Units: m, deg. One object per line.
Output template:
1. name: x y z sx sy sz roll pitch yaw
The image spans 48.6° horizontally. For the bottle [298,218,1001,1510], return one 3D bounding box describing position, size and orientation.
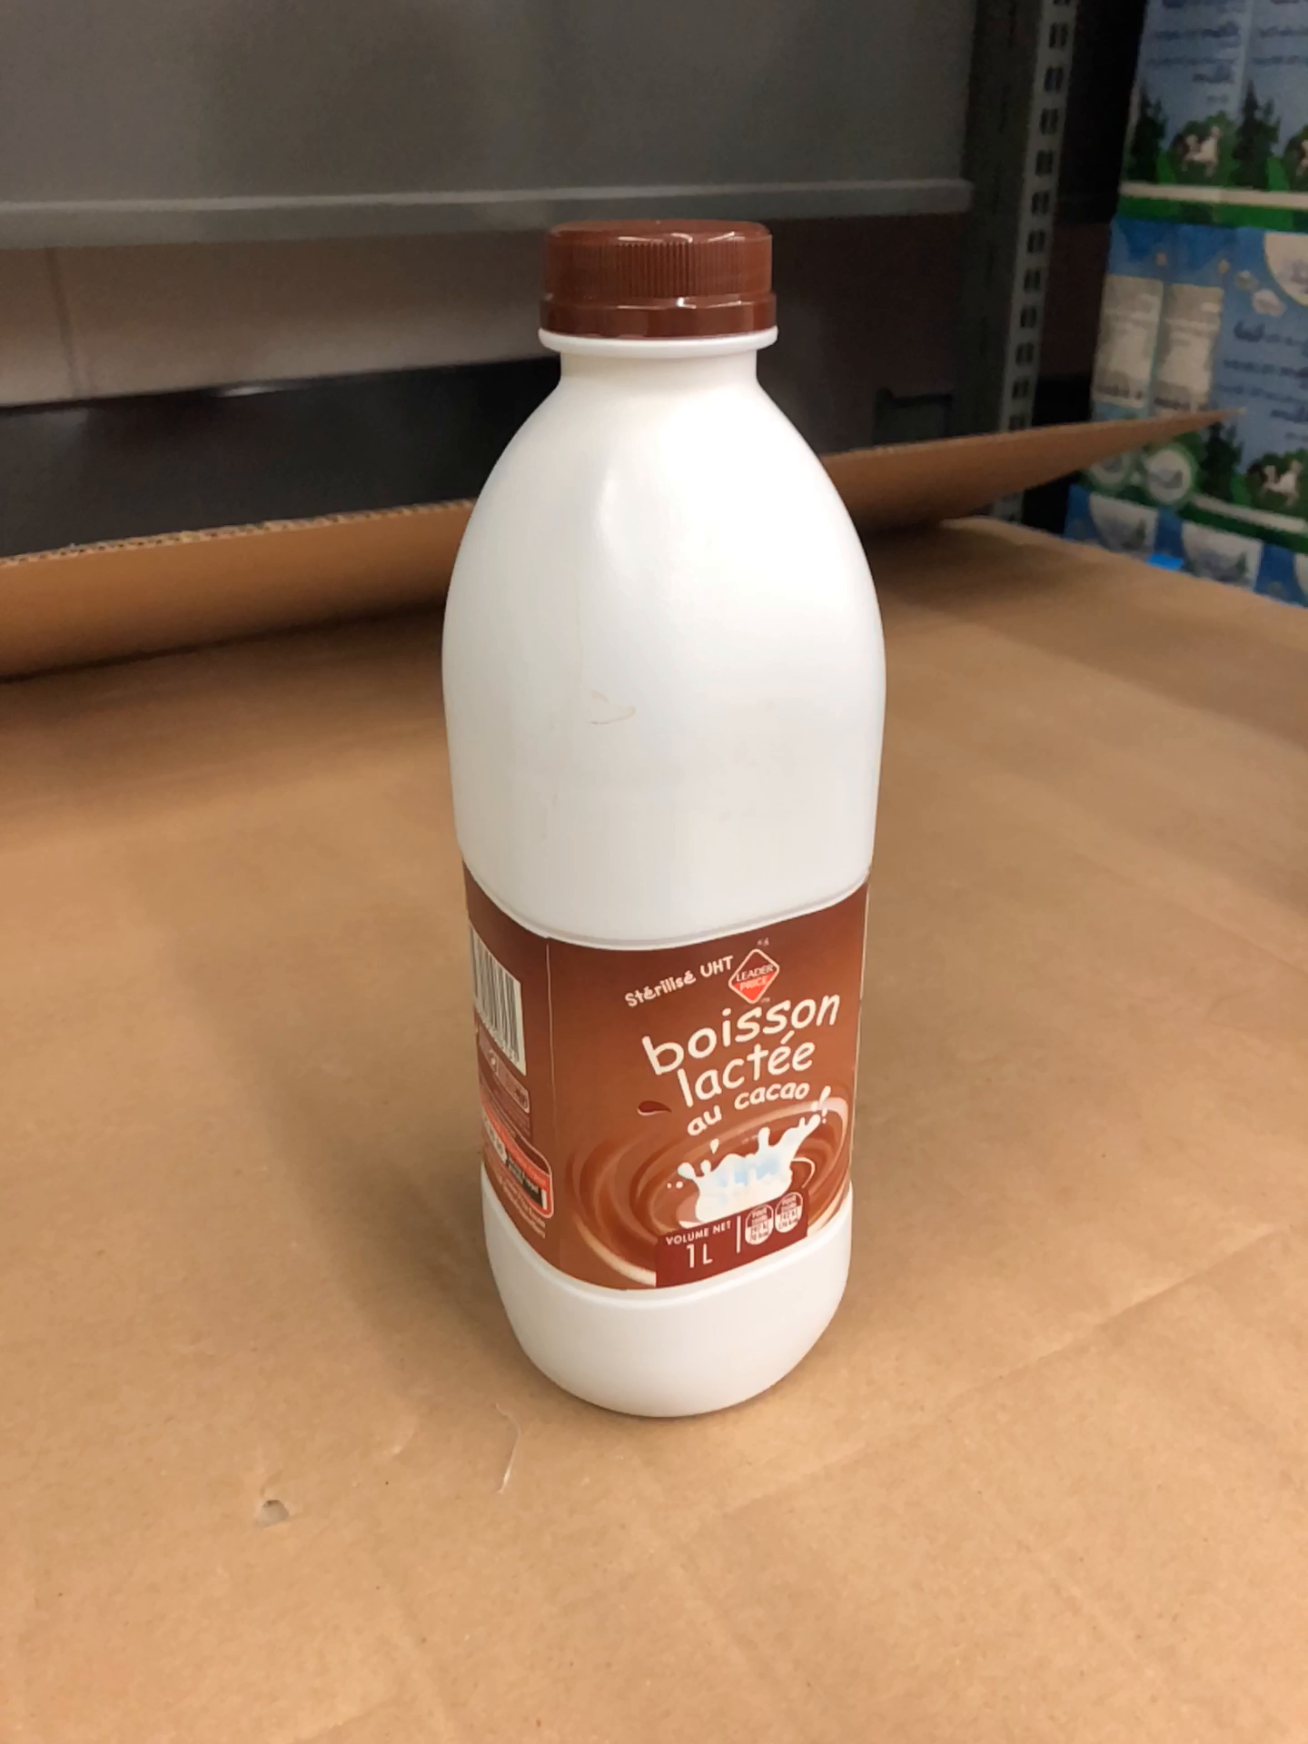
1. bottle: -0.003 -0.001 0.298 0.090 0.239 0.080 -16 31 -28
